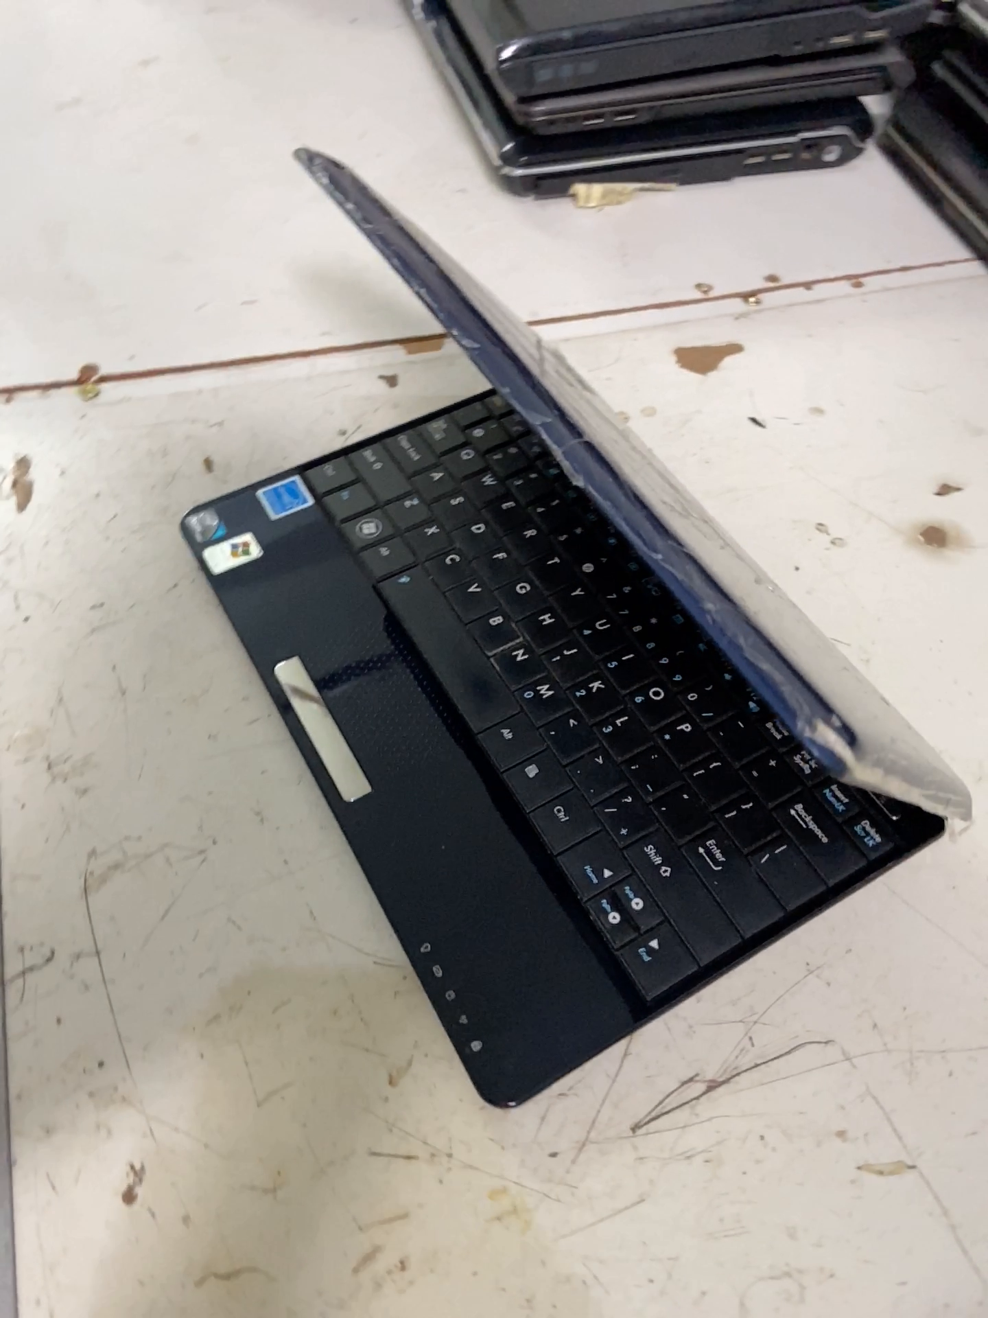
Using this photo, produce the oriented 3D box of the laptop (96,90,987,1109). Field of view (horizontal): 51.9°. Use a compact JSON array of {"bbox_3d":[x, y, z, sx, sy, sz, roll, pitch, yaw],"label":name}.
[{"bbox_3d":[0.010,-0.037,0.327,0.170,0.121,0.259,-26,59,-16],"label":"laptop"}]
